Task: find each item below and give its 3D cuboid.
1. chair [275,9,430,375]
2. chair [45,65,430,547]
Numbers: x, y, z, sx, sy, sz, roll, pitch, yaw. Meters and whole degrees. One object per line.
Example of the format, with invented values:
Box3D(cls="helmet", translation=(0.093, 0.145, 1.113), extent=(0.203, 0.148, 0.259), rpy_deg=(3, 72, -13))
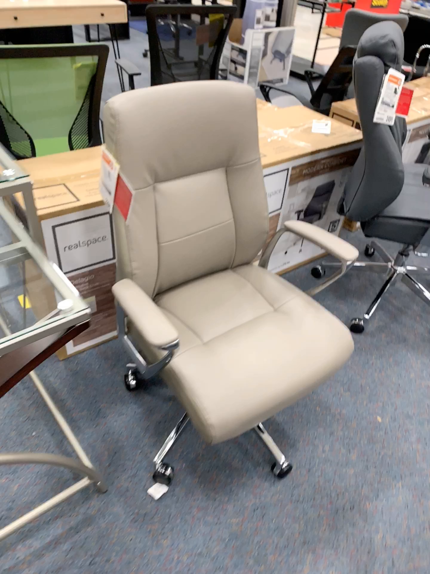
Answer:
Box3D(cls="chair", translation=(0.841, -0.411, 1.806), extent=(0.815, 1.056, 0.814), rpy_deg=(18, 41, 14))
Box3D(cls="chair", translation=(0.066, 0.018, 1.225), extent=(0.692, 0.956, 0.677), rpy_deg=(-21, 47, -29))
